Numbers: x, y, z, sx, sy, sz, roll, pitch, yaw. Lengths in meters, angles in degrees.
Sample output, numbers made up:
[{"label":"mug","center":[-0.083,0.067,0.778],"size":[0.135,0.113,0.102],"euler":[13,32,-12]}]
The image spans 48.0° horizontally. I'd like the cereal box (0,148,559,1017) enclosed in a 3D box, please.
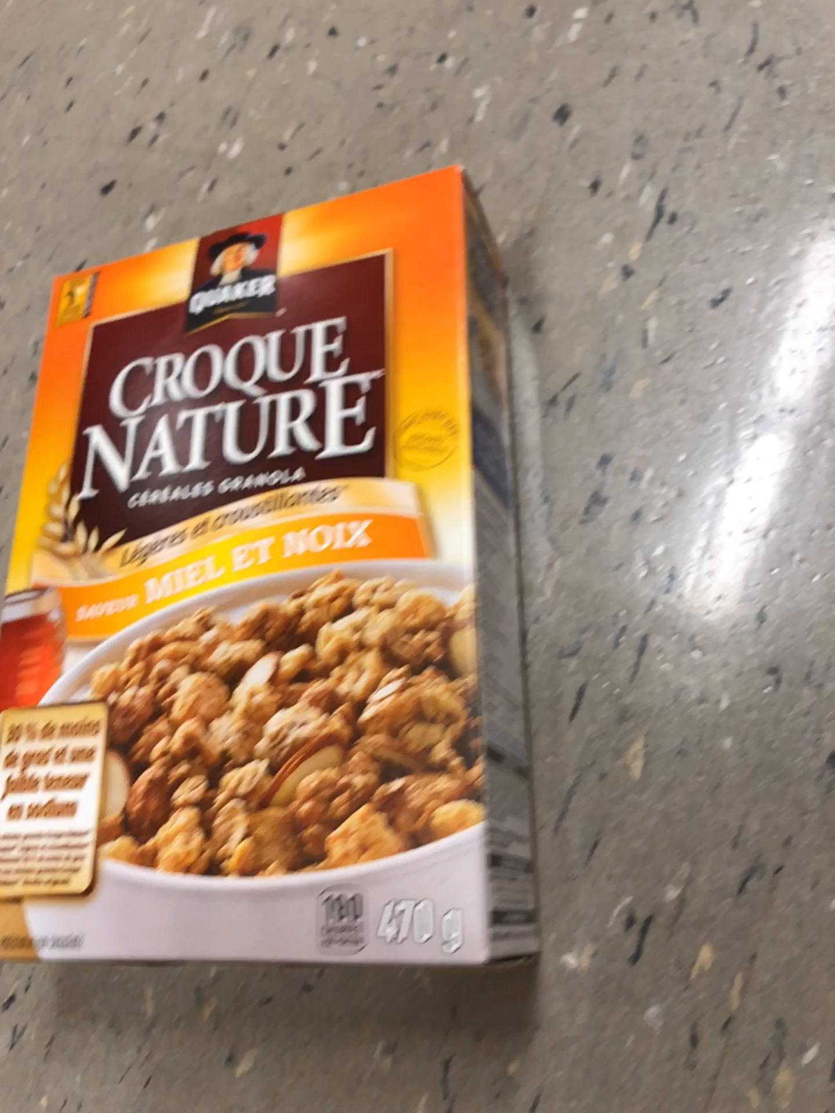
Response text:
[{"label":"cereal box","center":[-0.049,0.006,0.293],"size":[0.160,0.050,0.240],"euler":[-8,69,18]}]
